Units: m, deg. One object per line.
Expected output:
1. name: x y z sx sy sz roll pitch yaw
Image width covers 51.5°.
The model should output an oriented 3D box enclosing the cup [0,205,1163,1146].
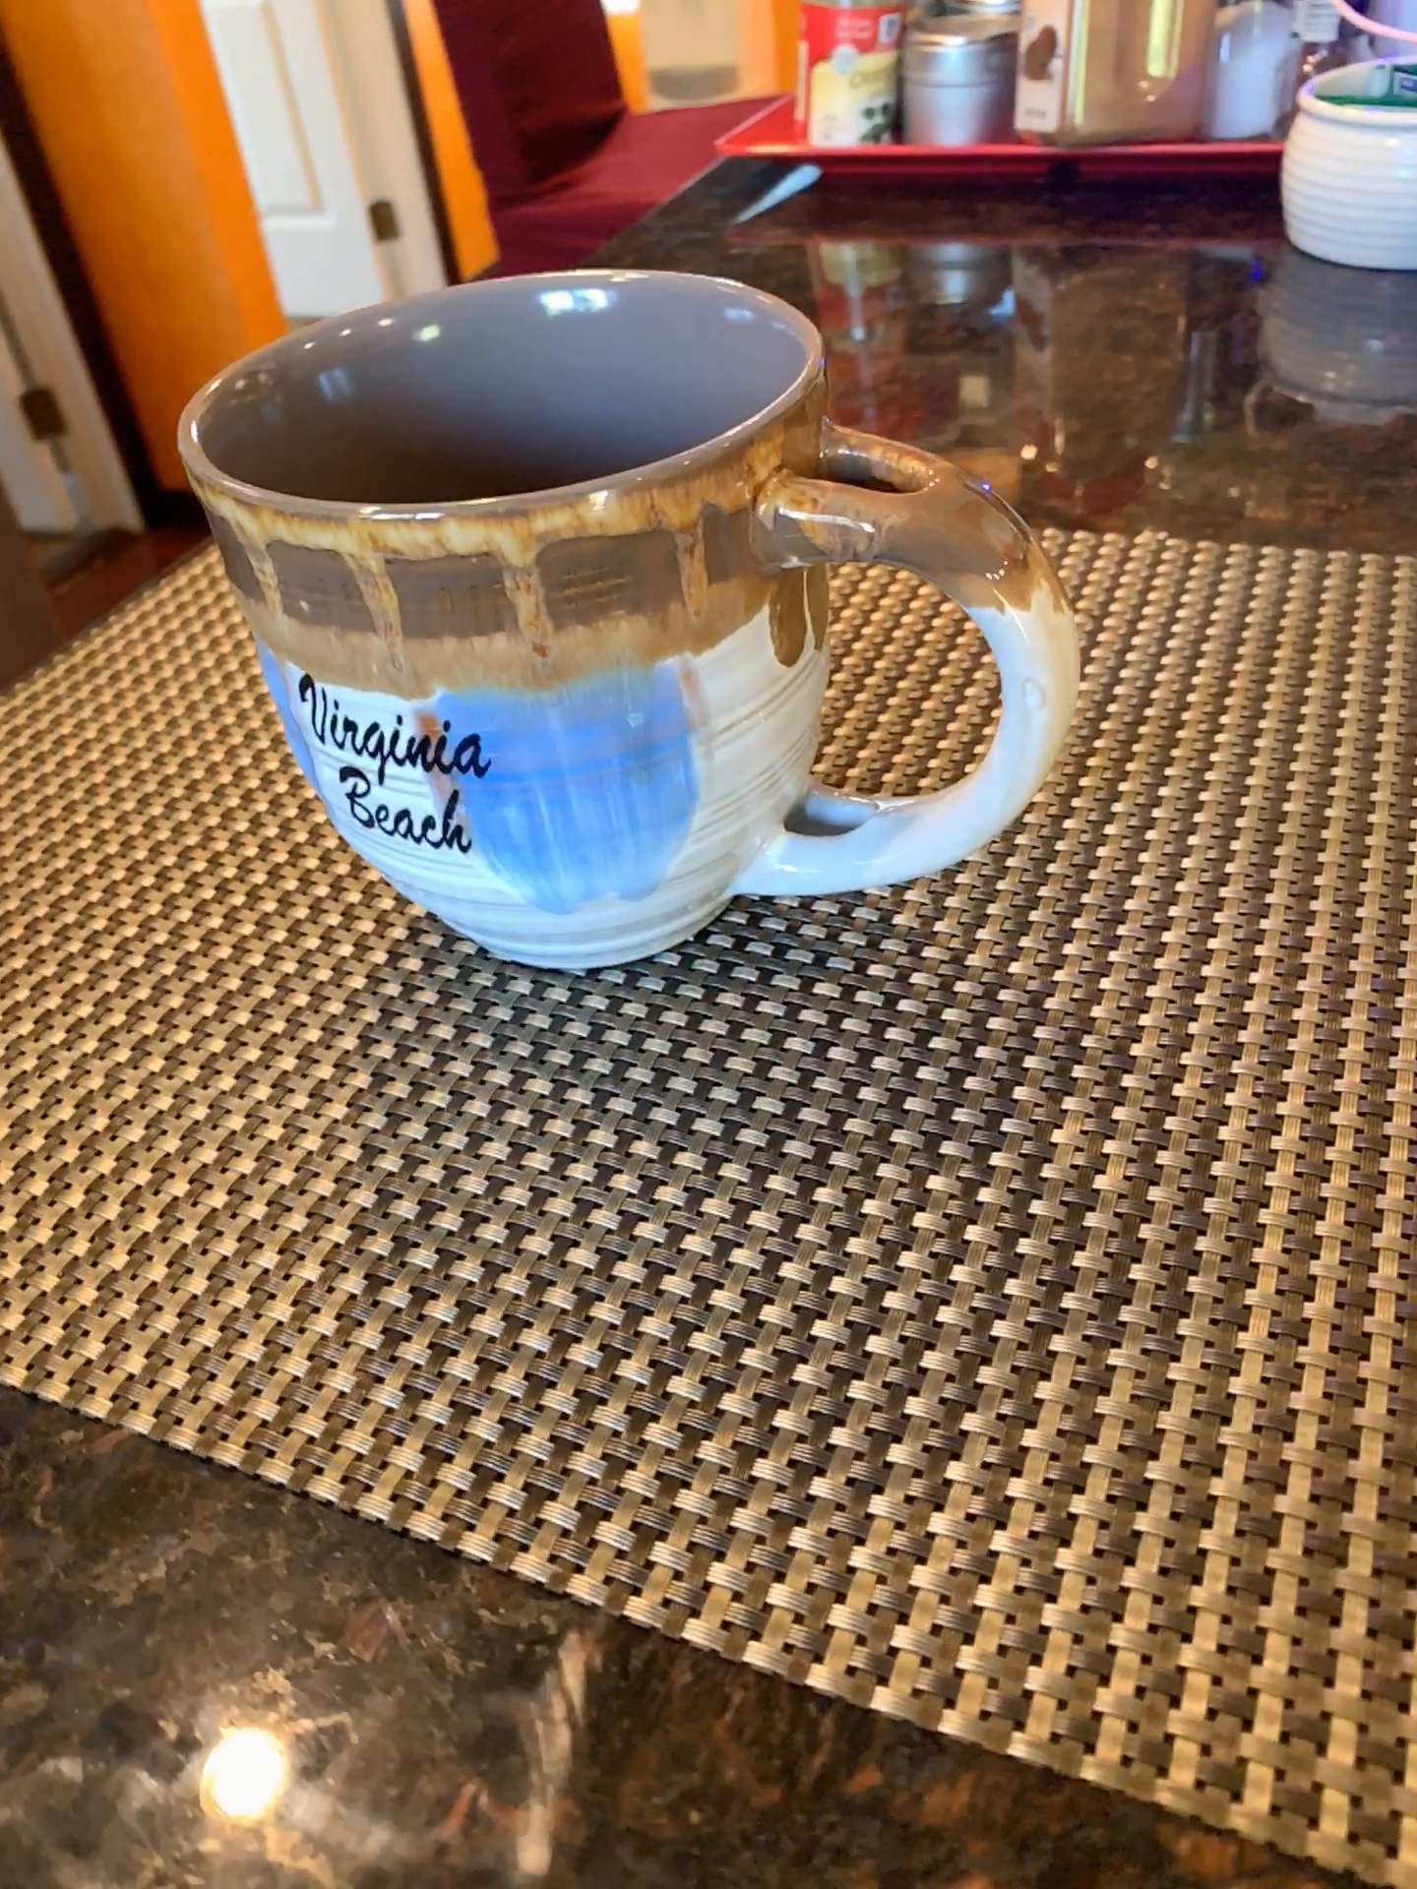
1. cup: -0.020 -0.055 0.238 0.150 0.090 0.100 15 45 25
